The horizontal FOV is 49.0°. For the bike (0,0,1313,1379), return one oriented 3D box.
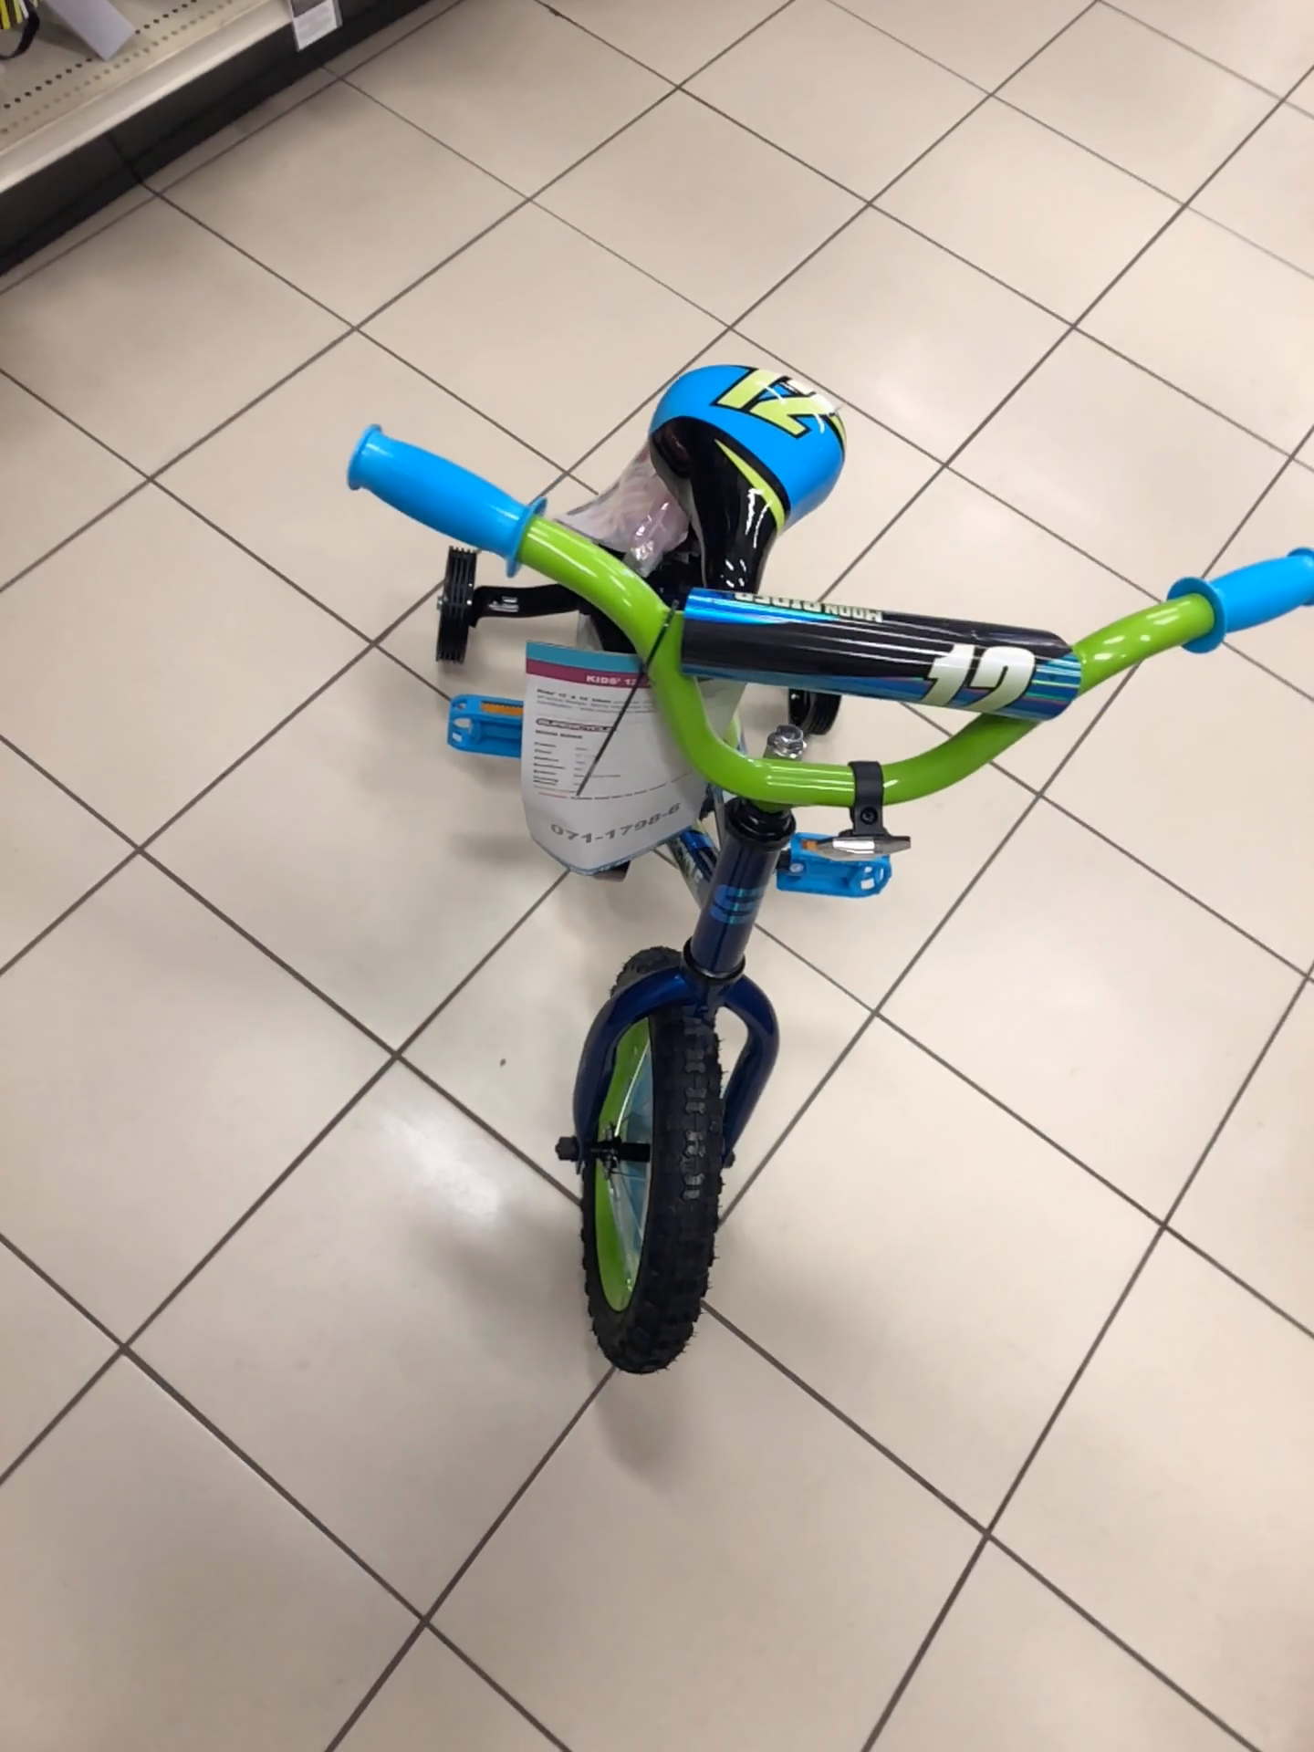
[{"bbox_3d":[0.025,-0.120,0.990,0.548,0.676,0.796,4,63,-5],"label":"bike"}]
